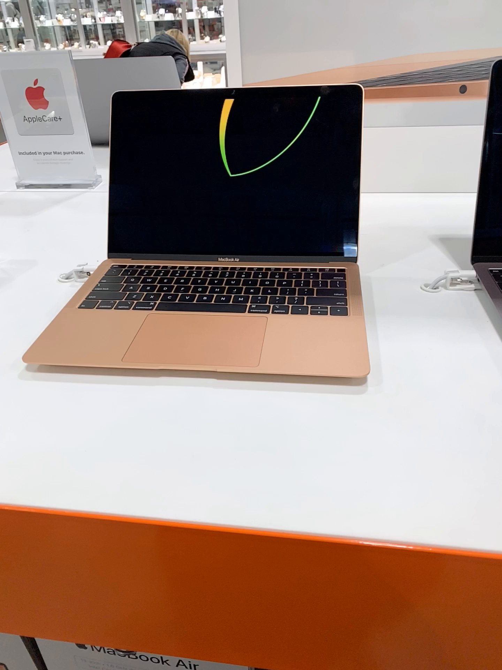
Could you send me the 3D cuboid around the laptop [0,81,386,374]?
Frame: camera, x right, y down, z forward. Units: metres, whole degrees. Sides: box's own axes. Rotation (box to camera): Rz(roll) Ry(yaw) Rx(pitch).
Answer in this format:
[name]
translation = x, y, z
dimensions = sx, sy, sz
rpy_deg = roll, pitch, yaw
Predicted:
[laptop]
translation = -0.037, -0.132, 0.514
dimensions = 0.293, 0.170, 0.311
rpy_deg = 2, 33, 7
